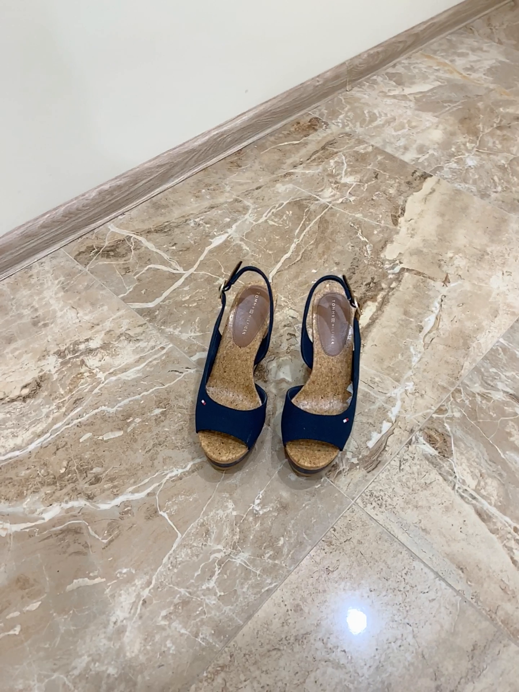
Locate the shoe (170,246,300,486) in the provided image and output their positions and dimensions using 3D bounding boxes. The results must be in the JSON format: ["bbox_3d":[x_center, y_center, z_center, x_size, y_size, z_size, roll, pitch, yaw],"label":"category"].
[{"bbox_3d":[-0.019,0.020,0.590,0.090,0.145,0.211,9,52,5],"label":"shoe"}]

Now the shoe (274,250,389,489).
[{"bbox_3d":[0.081,0.024,0.594,0.090,0.145,0.211,9,52,5],"label":"shoe"}]
